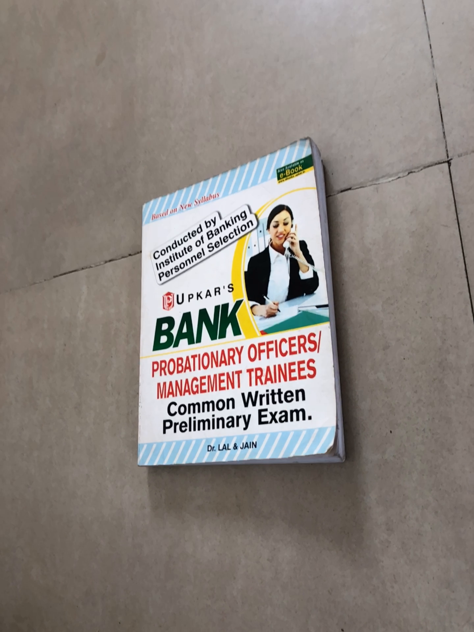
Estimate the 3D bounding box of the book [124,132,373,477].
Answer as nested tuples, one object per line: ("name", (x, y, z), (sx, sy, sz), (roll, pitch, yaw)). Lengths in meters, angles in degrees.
("book", (-0.002, 0.001, 0.399), (0.181, 0.040, 0.230), (-10, 74, 30))
